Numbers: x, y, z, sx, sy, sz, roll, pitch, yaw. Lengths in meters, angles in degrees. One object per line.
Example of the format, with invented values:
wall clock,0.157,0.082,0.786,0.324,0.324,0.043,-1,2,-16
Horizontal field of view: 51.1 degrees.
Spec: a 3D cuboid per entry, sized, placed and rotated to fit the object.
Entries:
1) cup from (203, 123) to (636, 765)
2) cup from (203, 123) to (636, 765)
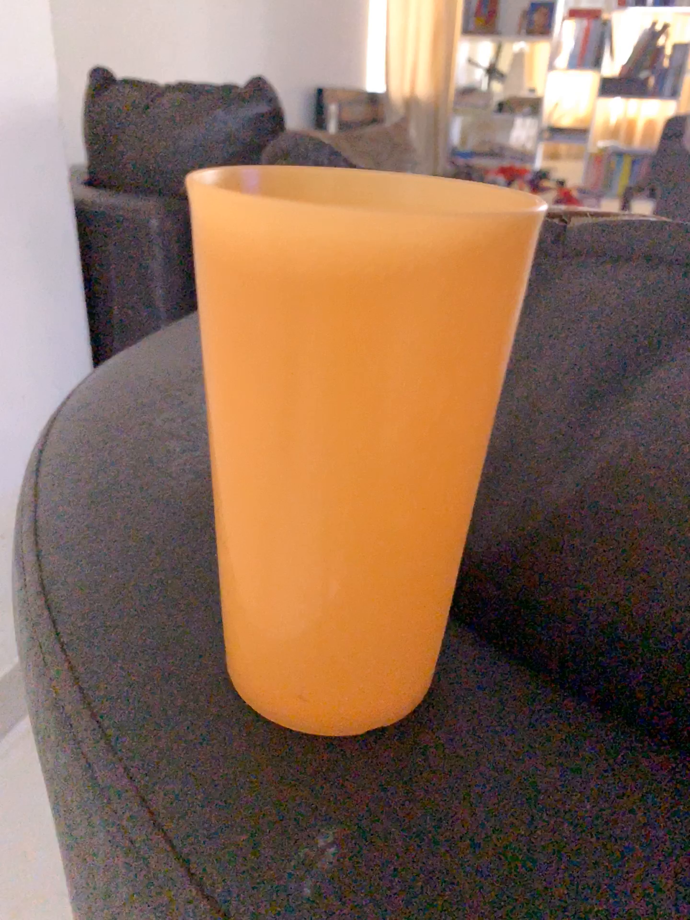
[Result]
cup,0.005,-0.007,0.172,0.070,0.129,0.071,2,26,-1
cup,0.005,-0.007,0.172,0.070,0.129,0.071,2,26,-1
